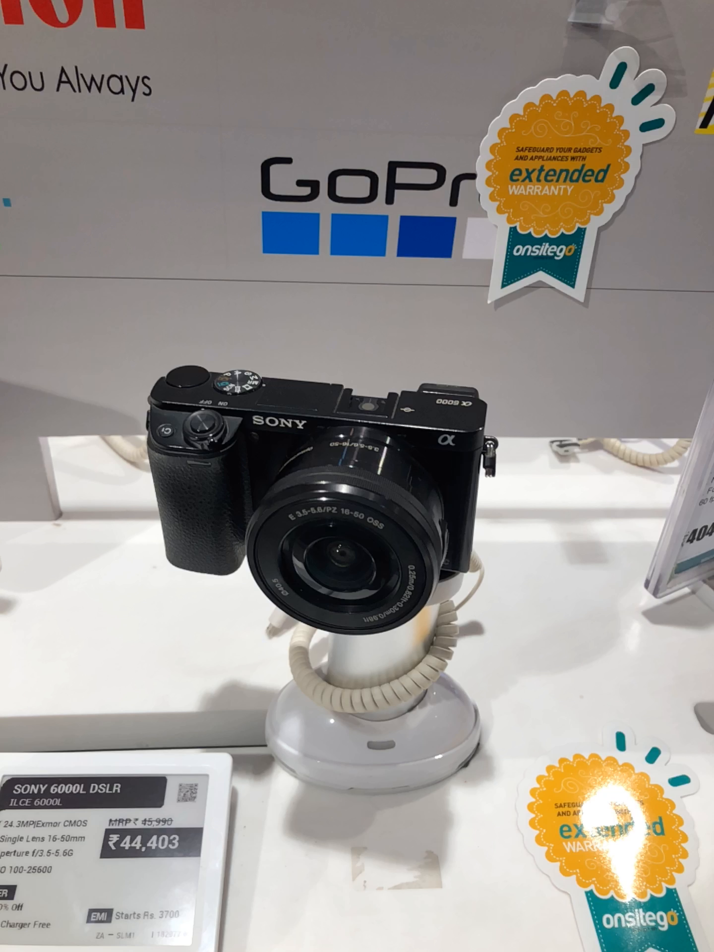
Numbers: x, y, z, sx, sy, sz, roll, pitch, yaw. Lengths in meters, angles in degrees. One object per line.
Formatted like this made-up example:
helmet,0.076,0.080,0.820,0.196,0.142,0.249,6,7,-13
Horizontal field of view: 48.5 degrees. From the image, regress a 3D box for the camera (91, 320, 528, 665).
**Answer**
camera,-0.010,0.003,0.241,0.110,0.070,0.060,7,36,5
